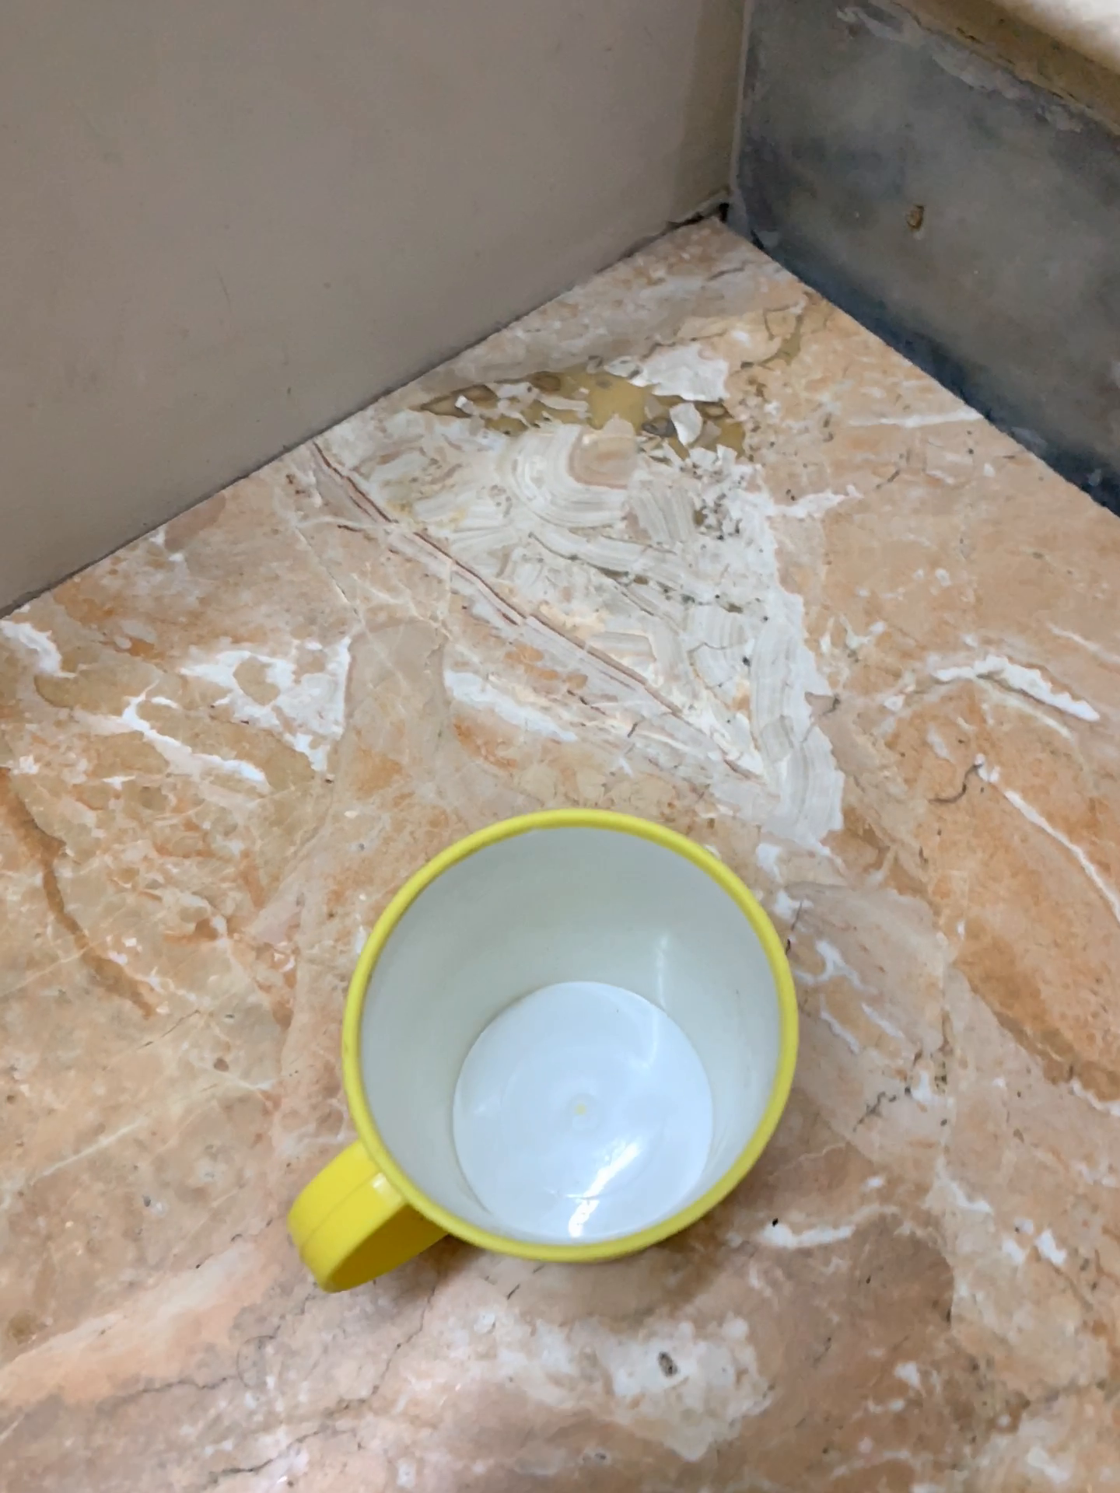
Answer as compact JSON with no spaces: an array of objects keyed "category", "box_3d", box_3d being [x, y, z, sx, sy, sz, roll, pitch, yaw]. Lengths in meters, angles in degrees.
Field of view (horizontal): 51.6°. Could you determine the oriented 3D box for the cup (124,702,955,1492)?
[{"category":"cup","box_3d":[-0.001,0.068,0.220,0.110,0.090,0.070,-37,66,-16]}]
